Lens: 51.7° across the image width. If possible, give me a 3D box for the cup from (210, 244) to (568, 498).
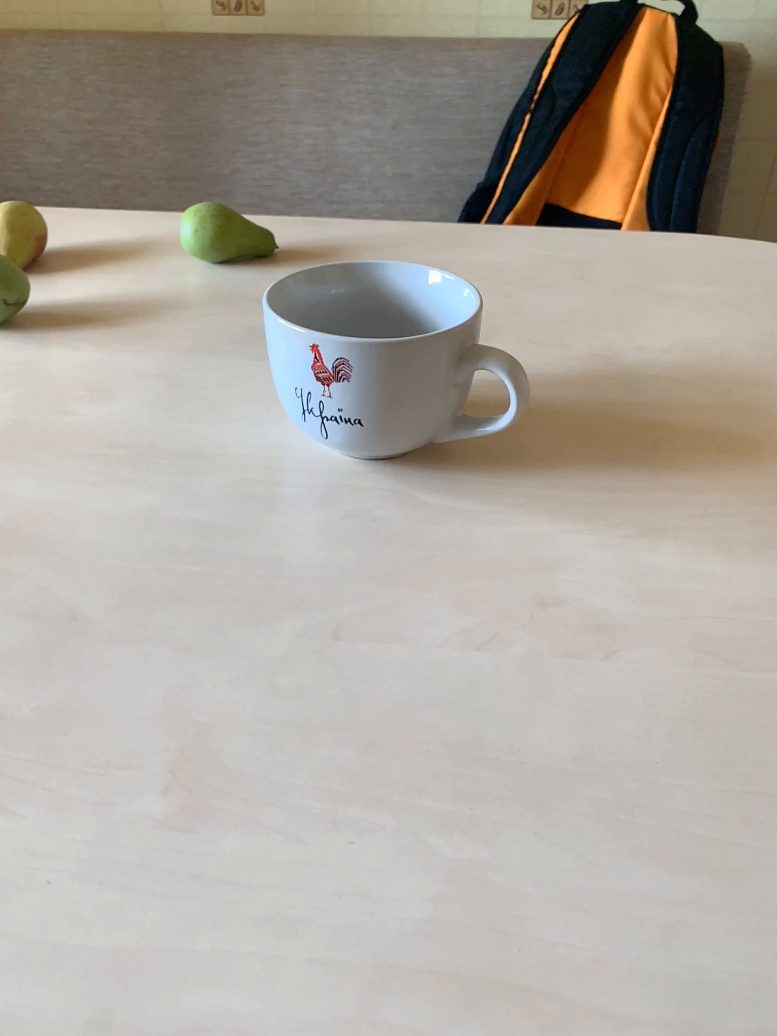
[{"bbox_3d":[0.002,-0.077,0.381,0.130,0.060,0.100,18,39,24],"label":"cup"}]
